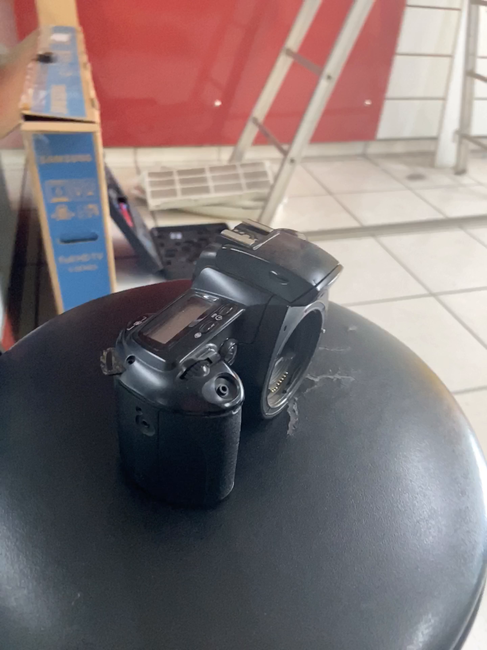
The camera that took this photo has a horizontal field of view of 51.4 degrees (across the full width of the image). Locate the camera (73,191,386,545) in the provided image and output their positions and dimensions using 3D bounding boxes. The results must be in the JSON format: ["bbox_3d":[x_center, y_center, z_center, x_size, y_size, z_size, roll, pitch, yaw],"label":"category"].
[{"bbox_3d":[0.002,0.008,0.245,0.070,0.089,0.141,23,40,23],"label":"camera"}]
